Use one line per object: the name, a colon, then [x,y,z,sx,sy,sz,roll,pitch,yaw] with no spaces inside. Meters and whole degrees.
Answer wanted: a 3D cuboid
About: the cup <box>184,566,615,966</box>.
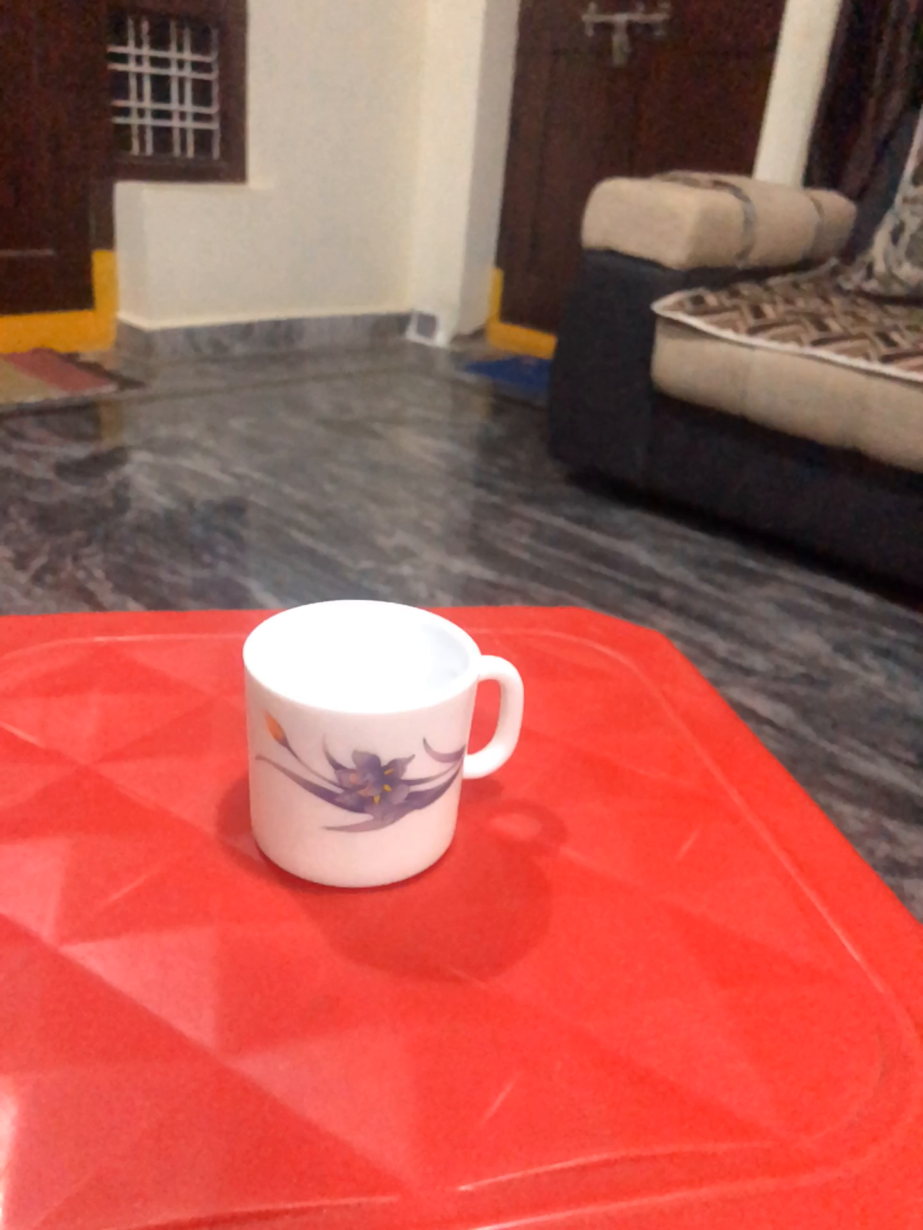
cup: [-0.018,0.034,0.285,0.090,0.060,0.070,-15,32,-37]
